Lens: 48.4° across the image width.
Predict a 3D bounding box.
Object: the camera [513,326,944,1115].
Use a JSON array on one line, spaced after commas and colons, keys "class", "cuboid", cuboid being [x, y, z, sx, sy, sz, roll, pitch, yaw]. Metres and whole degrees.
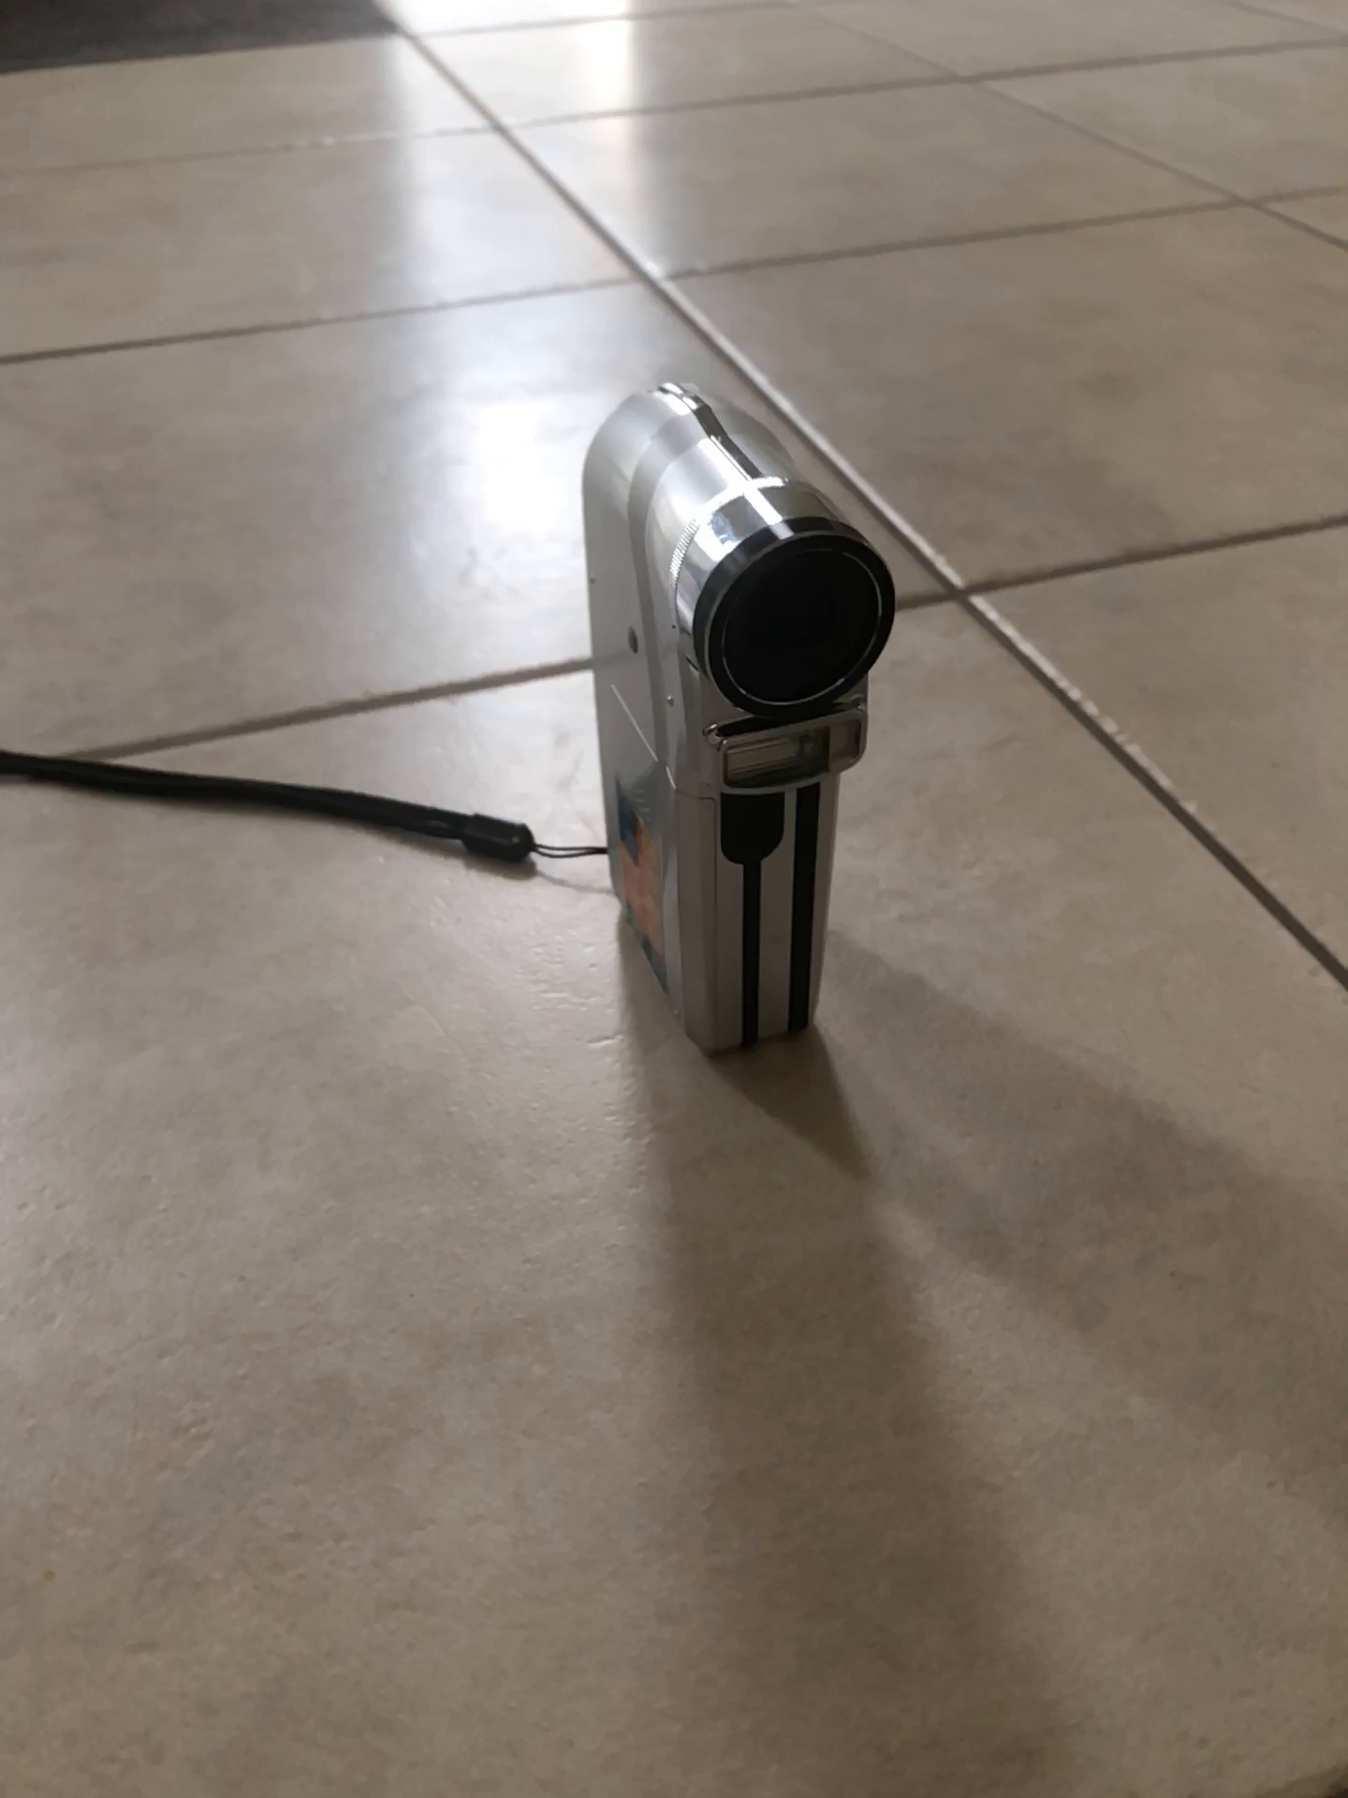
[{"class": "camera", "cuboid": [0.007, -0.032, 0.269, 0.040, 0.109, 0.080, -15, 41, -15]}]
